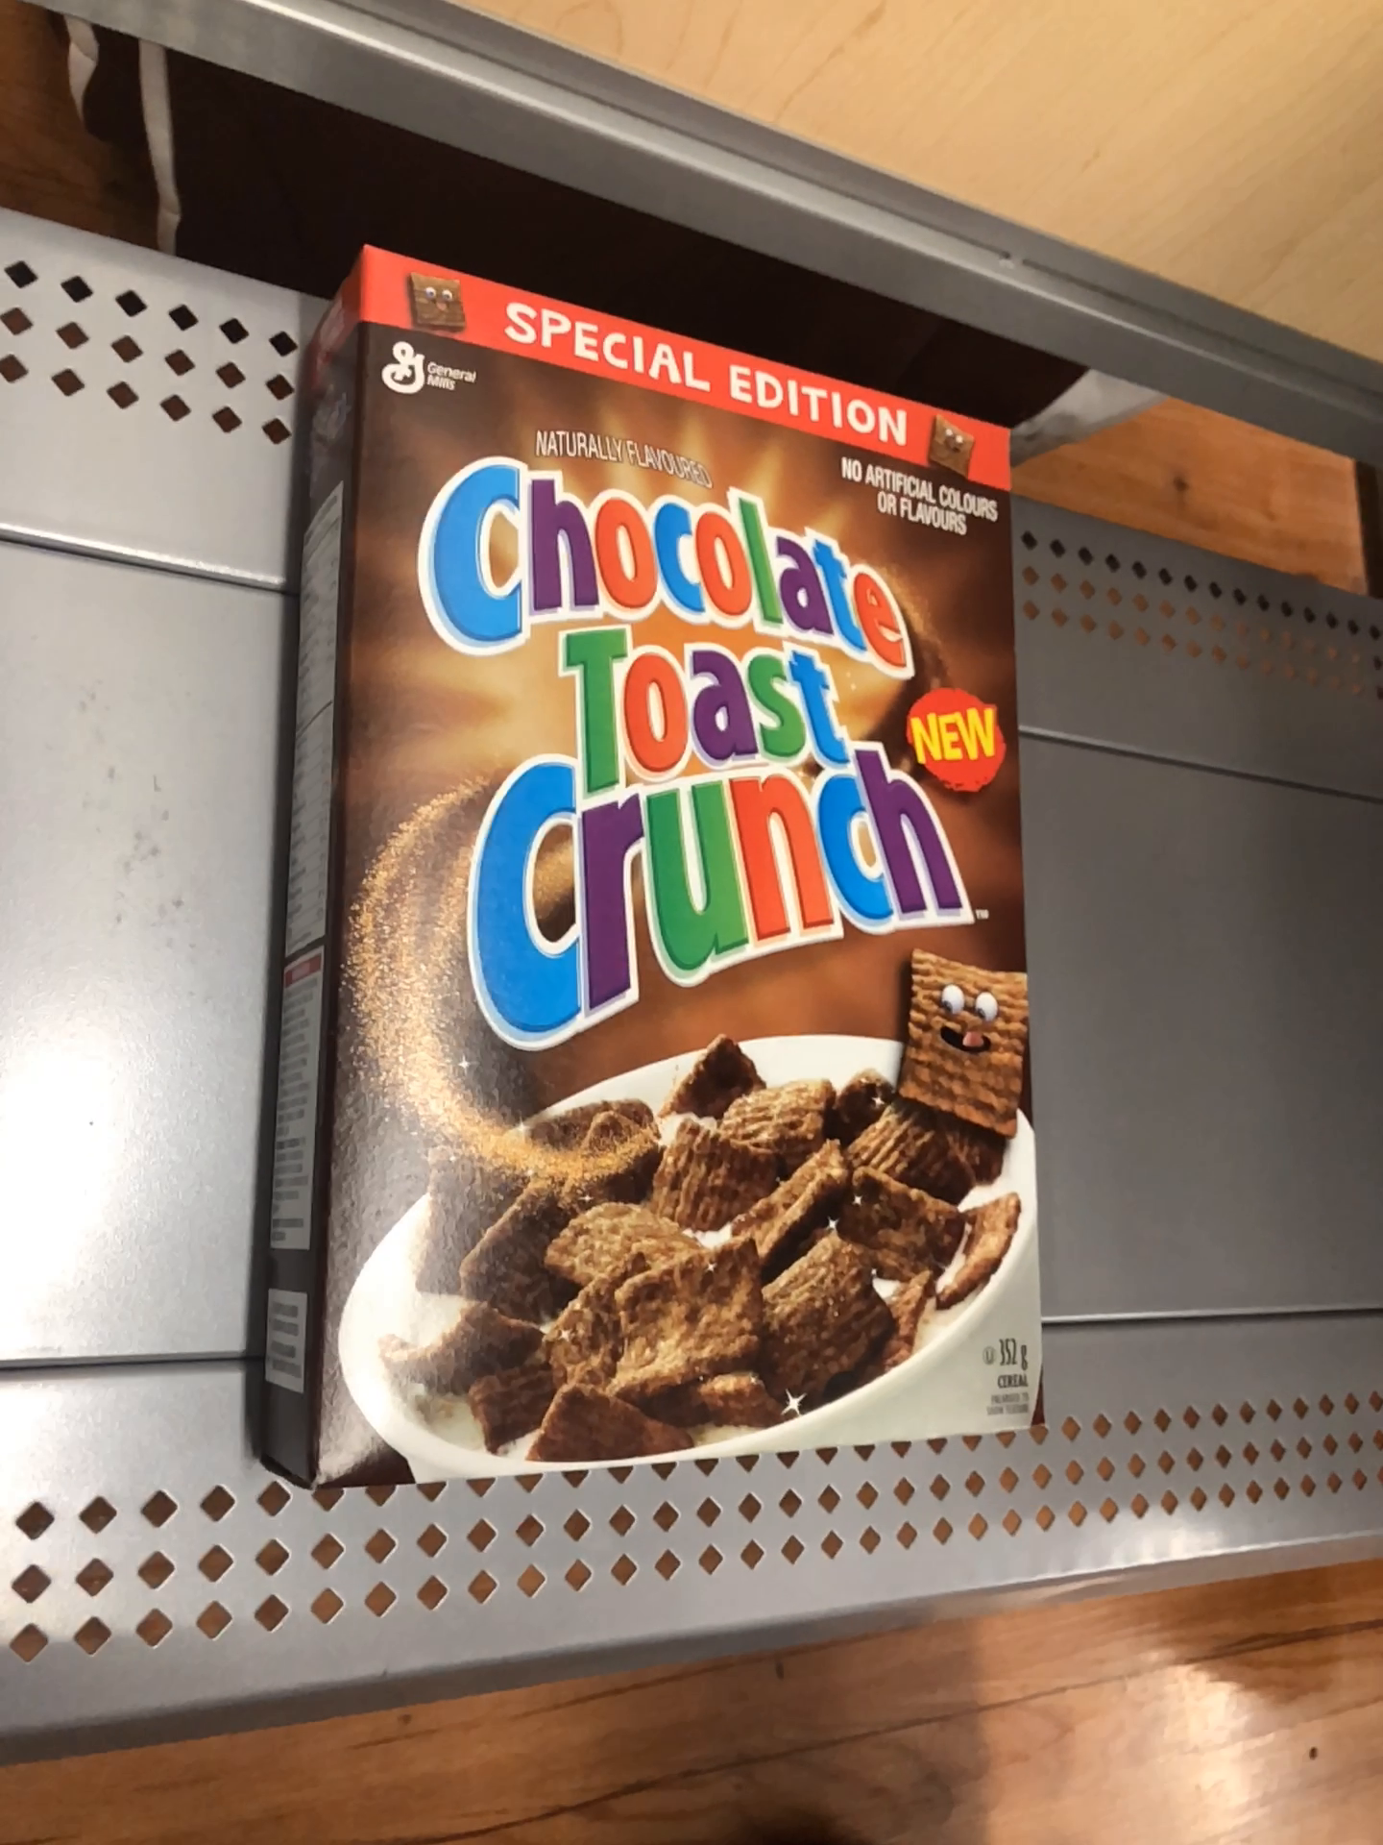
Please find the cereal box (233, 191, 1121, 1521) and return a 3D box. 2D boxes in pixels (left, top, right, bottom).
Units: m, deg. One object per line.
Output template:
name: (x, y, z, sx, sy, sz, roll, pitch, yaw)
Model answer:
cereal box: (-0.003, -0.010, 0.408, 0.200, 0.090, 0.290, 6, 76, -28)
